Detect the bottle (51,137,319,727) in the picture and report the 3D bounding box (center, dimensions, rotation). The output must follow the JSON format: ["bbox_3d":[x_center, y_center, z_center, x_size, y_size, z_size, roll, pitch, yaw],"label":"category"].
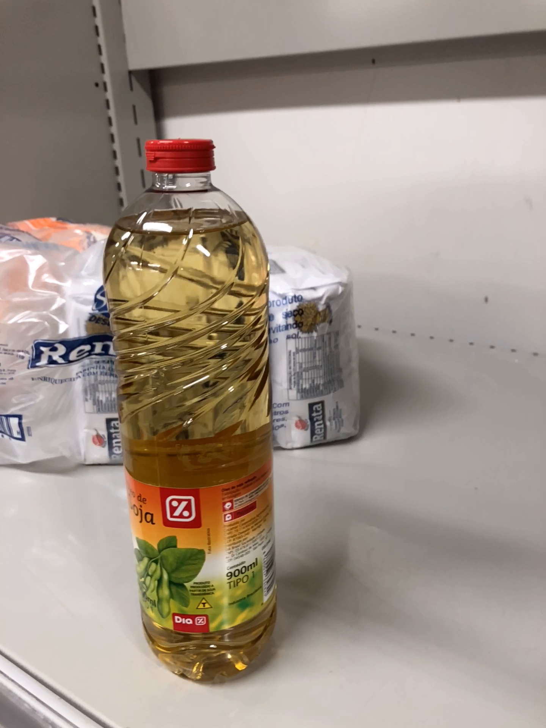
[{"bbox_3d":[-0.033,0.032,0.289,0.080,0.258,0.070,18,29,39],"label":"bottle"}]
